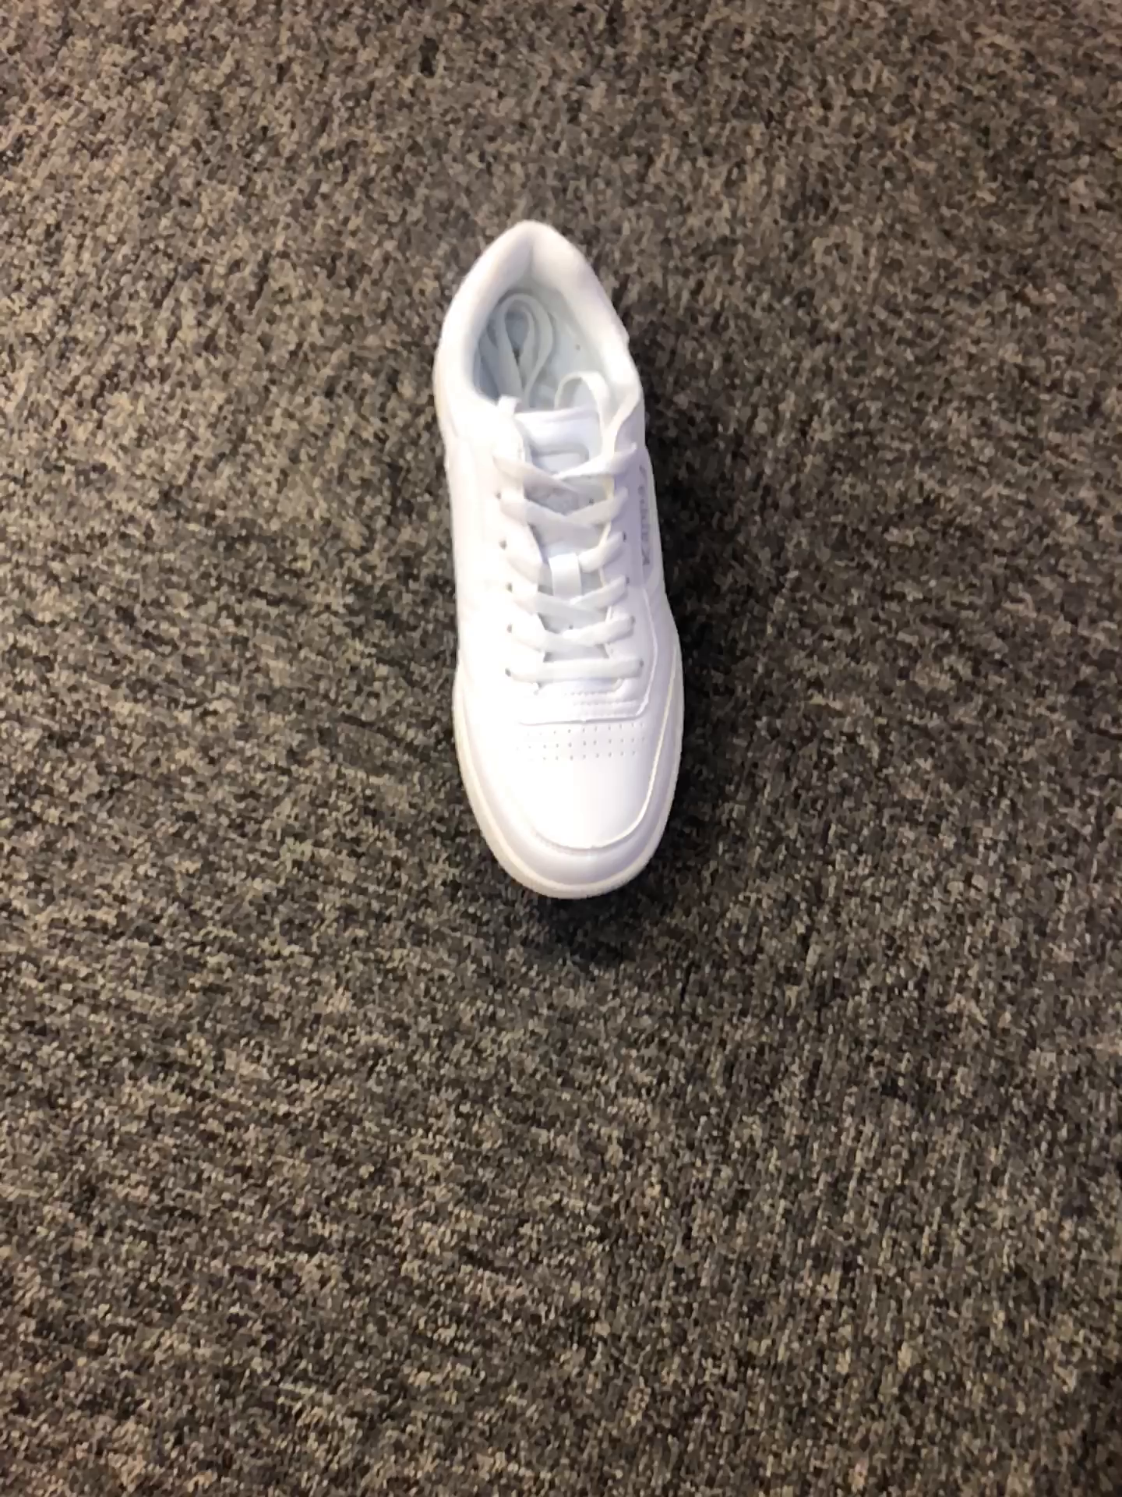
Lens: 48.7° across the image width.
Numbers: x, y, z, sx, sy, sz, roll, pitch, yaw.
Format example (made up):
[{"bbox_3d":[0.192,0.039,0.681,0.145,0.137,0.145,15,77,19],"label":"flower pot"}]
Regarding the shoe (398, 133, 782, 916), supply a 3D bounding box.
[{"bbox_3d":[0.001,-0.078,0.449,0.100,0.090,0.260,-4,78,-9],"label":"shoe"}]
